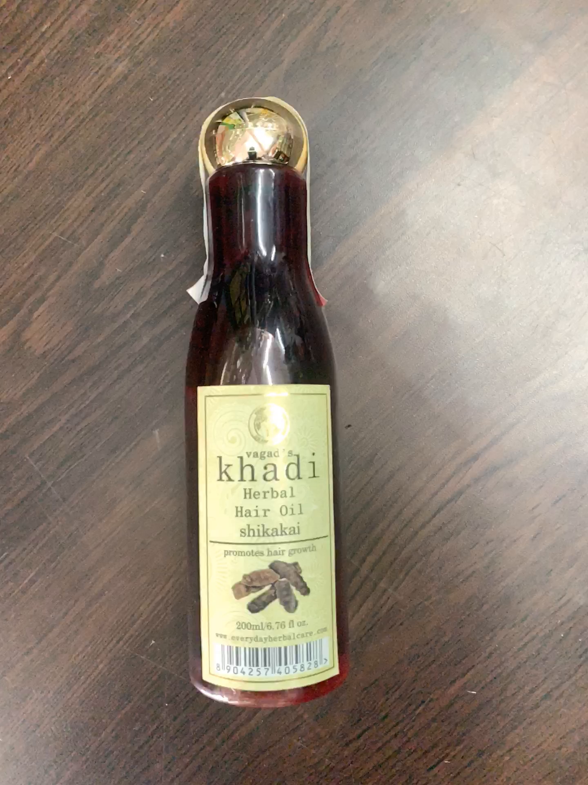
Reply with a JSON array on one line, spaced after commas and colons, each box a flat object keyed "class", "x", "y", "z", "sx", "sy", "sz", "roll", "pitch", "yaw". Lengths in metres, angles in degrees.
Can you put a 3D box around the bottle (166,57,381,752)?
[{"class": "bottle", "x": -0.006, "y": 0.002, "z": 0.175, "sx": 0.050, "sy": 0.050, "sz": 0.170, "roll": -1, "pitch": 87, "yaw": 0}]
